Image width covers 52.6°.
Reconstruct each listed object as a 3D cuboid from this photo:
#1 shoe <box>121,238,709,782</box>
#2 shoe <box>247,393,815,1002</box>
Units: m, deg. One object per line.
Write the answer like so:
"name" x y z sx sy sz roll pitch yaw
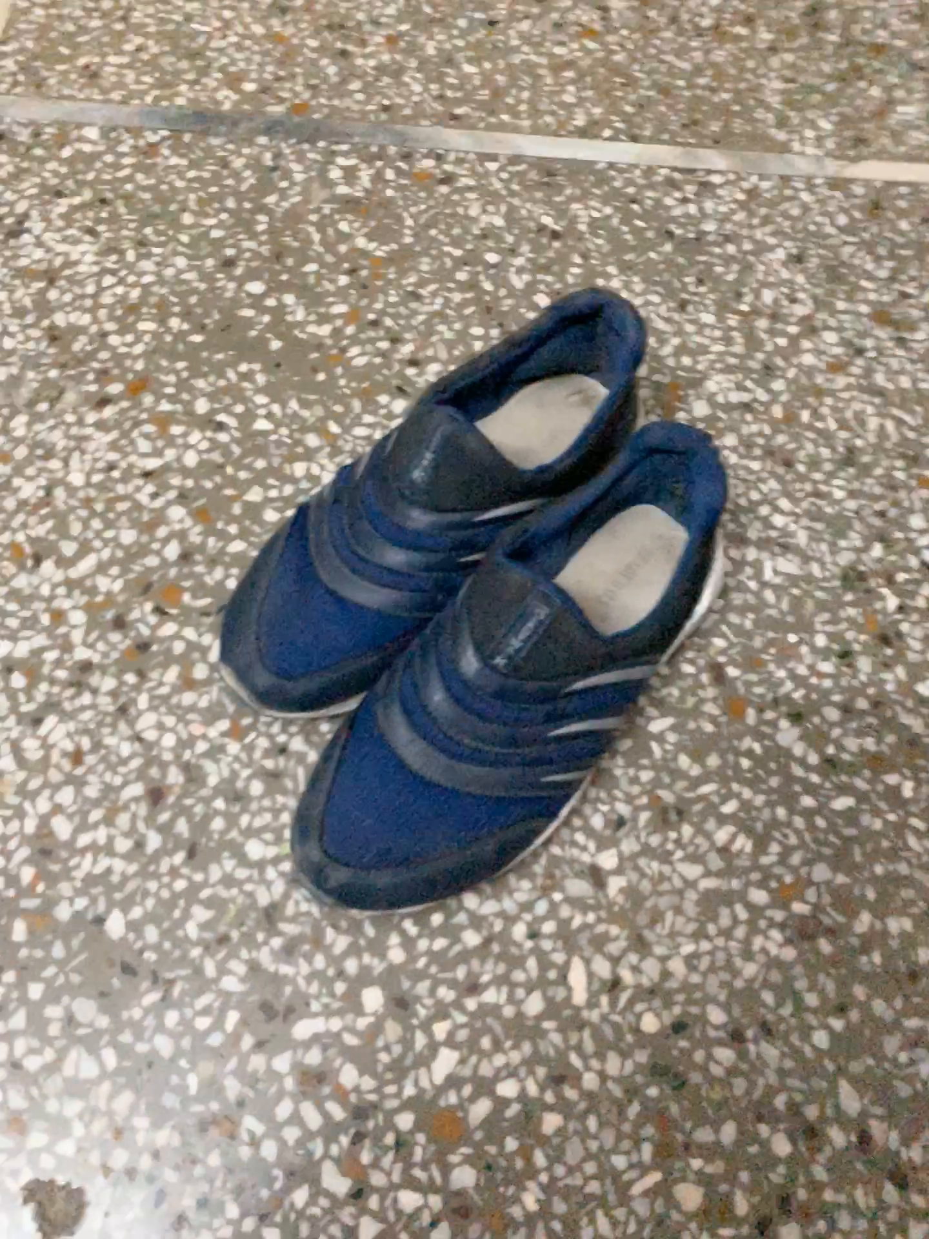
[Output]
"shoe" -0.015 -0.062 0.477 0.104 0.080 0.283 42 71 16
"shoe" 0.038 0.033 0.461 0.104 0.096 0.280 37 70 14
